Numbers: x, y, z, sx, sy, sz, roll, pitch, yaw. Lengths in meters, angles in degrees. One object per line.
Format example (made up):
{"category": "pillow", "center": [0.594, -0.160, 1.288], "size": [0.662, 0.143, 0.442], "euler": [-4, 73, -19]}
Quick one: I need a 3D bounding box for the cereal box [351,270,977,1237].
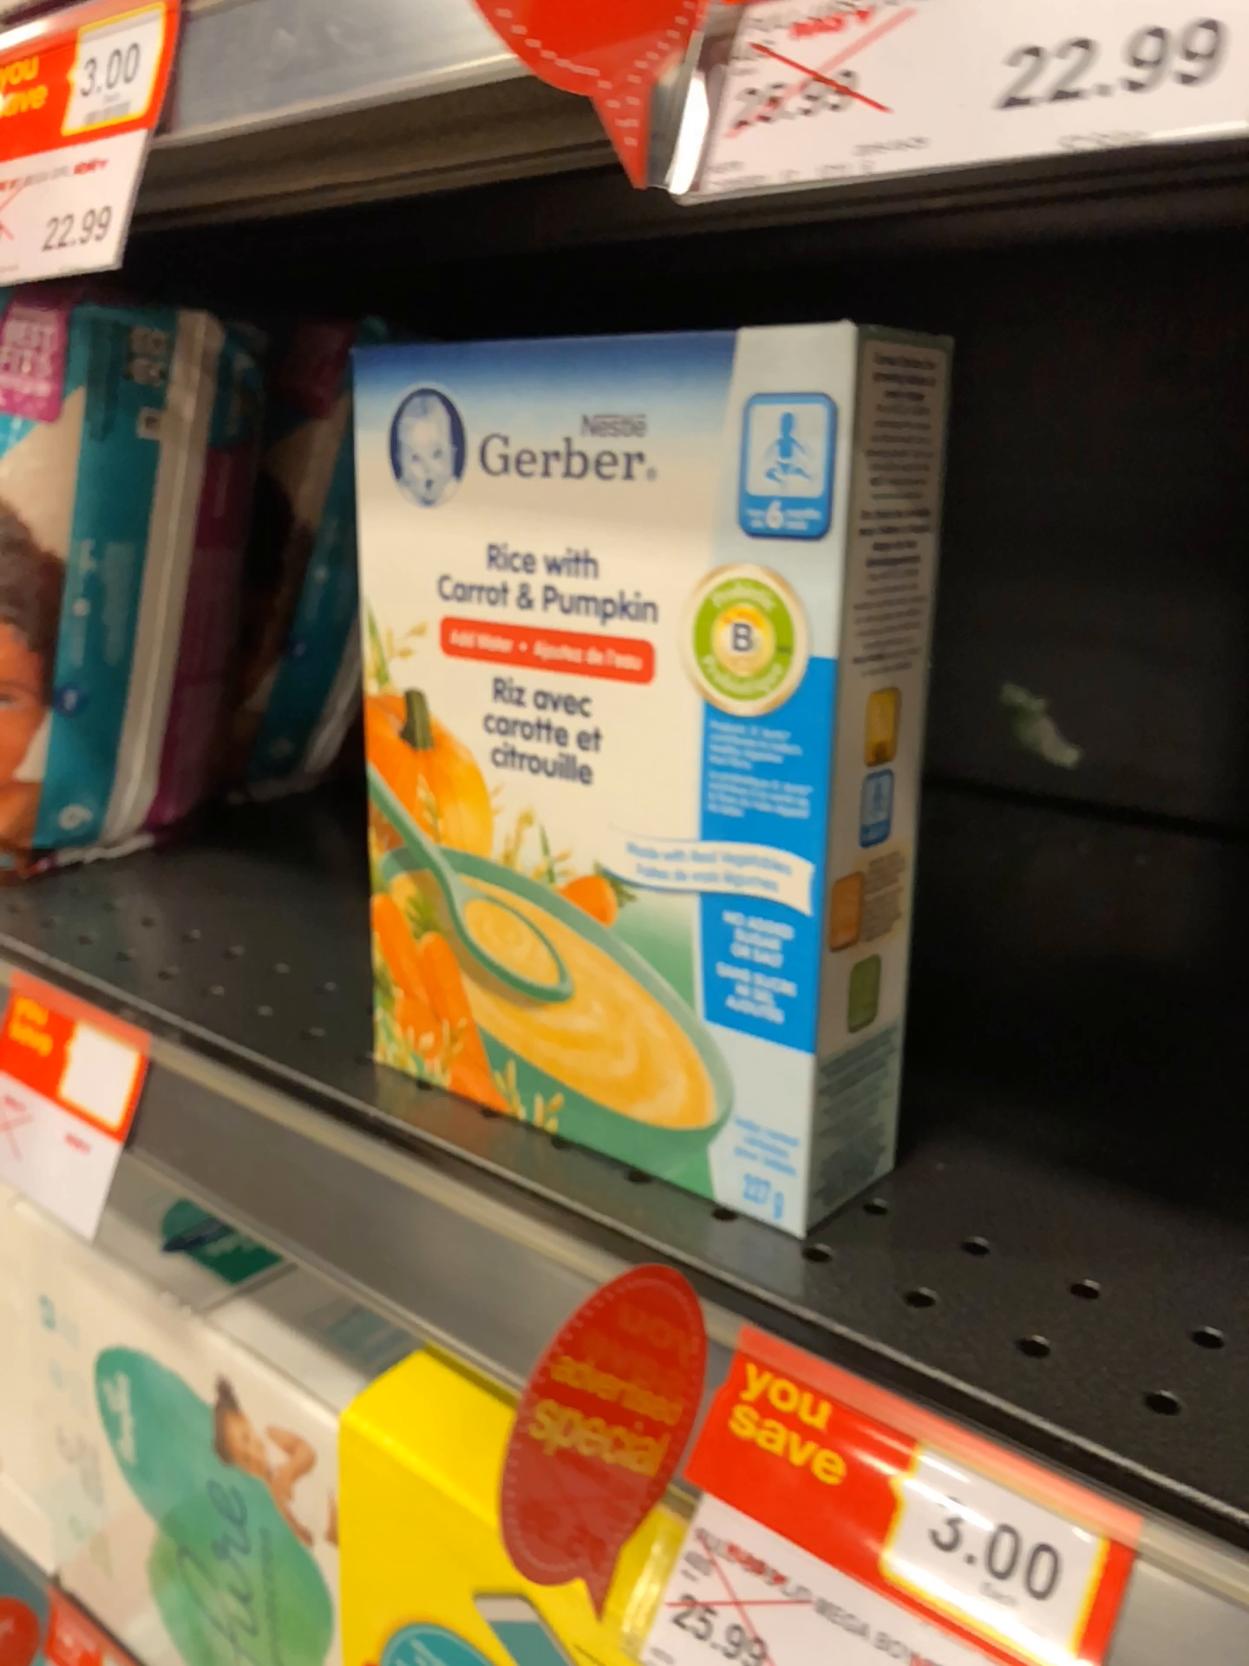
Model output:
{"category": "cereal box", "center": [0.001, -0.024, 0.346], "size": [0.150, 0.199, 0.040], "euler": [13, 19, 38]}
